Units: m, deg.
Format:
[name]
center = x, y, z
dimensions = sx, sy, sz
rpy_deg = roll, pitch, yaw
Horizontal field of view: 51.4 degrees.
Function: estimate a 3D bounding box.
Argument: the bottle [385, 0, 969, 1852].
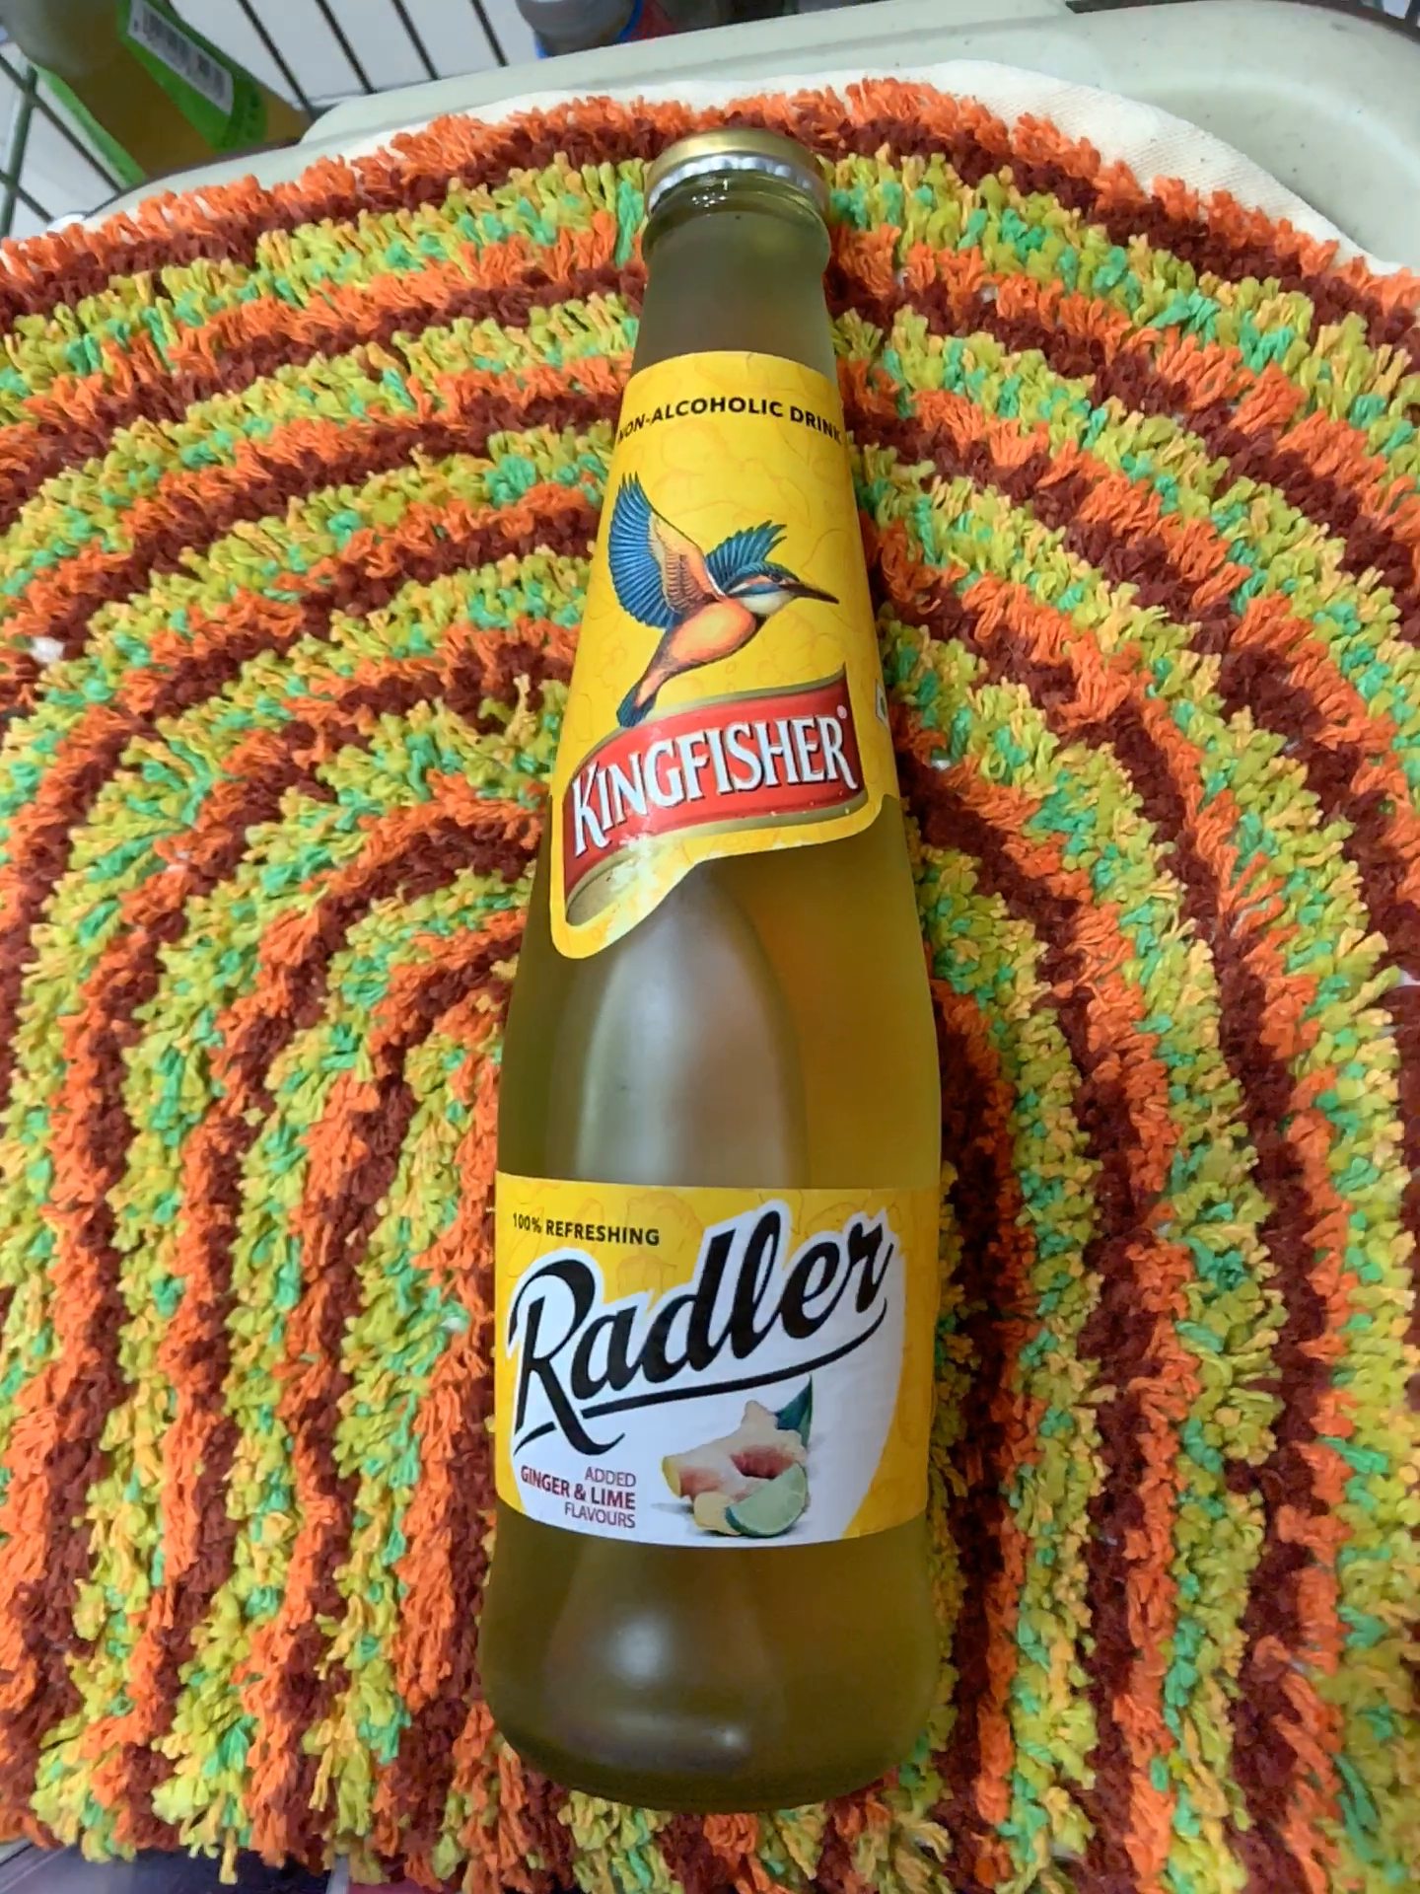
[bottle]
center = 0.002, -0.014, 0.198
dimensions = 0.060, 0.060, 0.220
rpy_deg = 0, 83, 14
